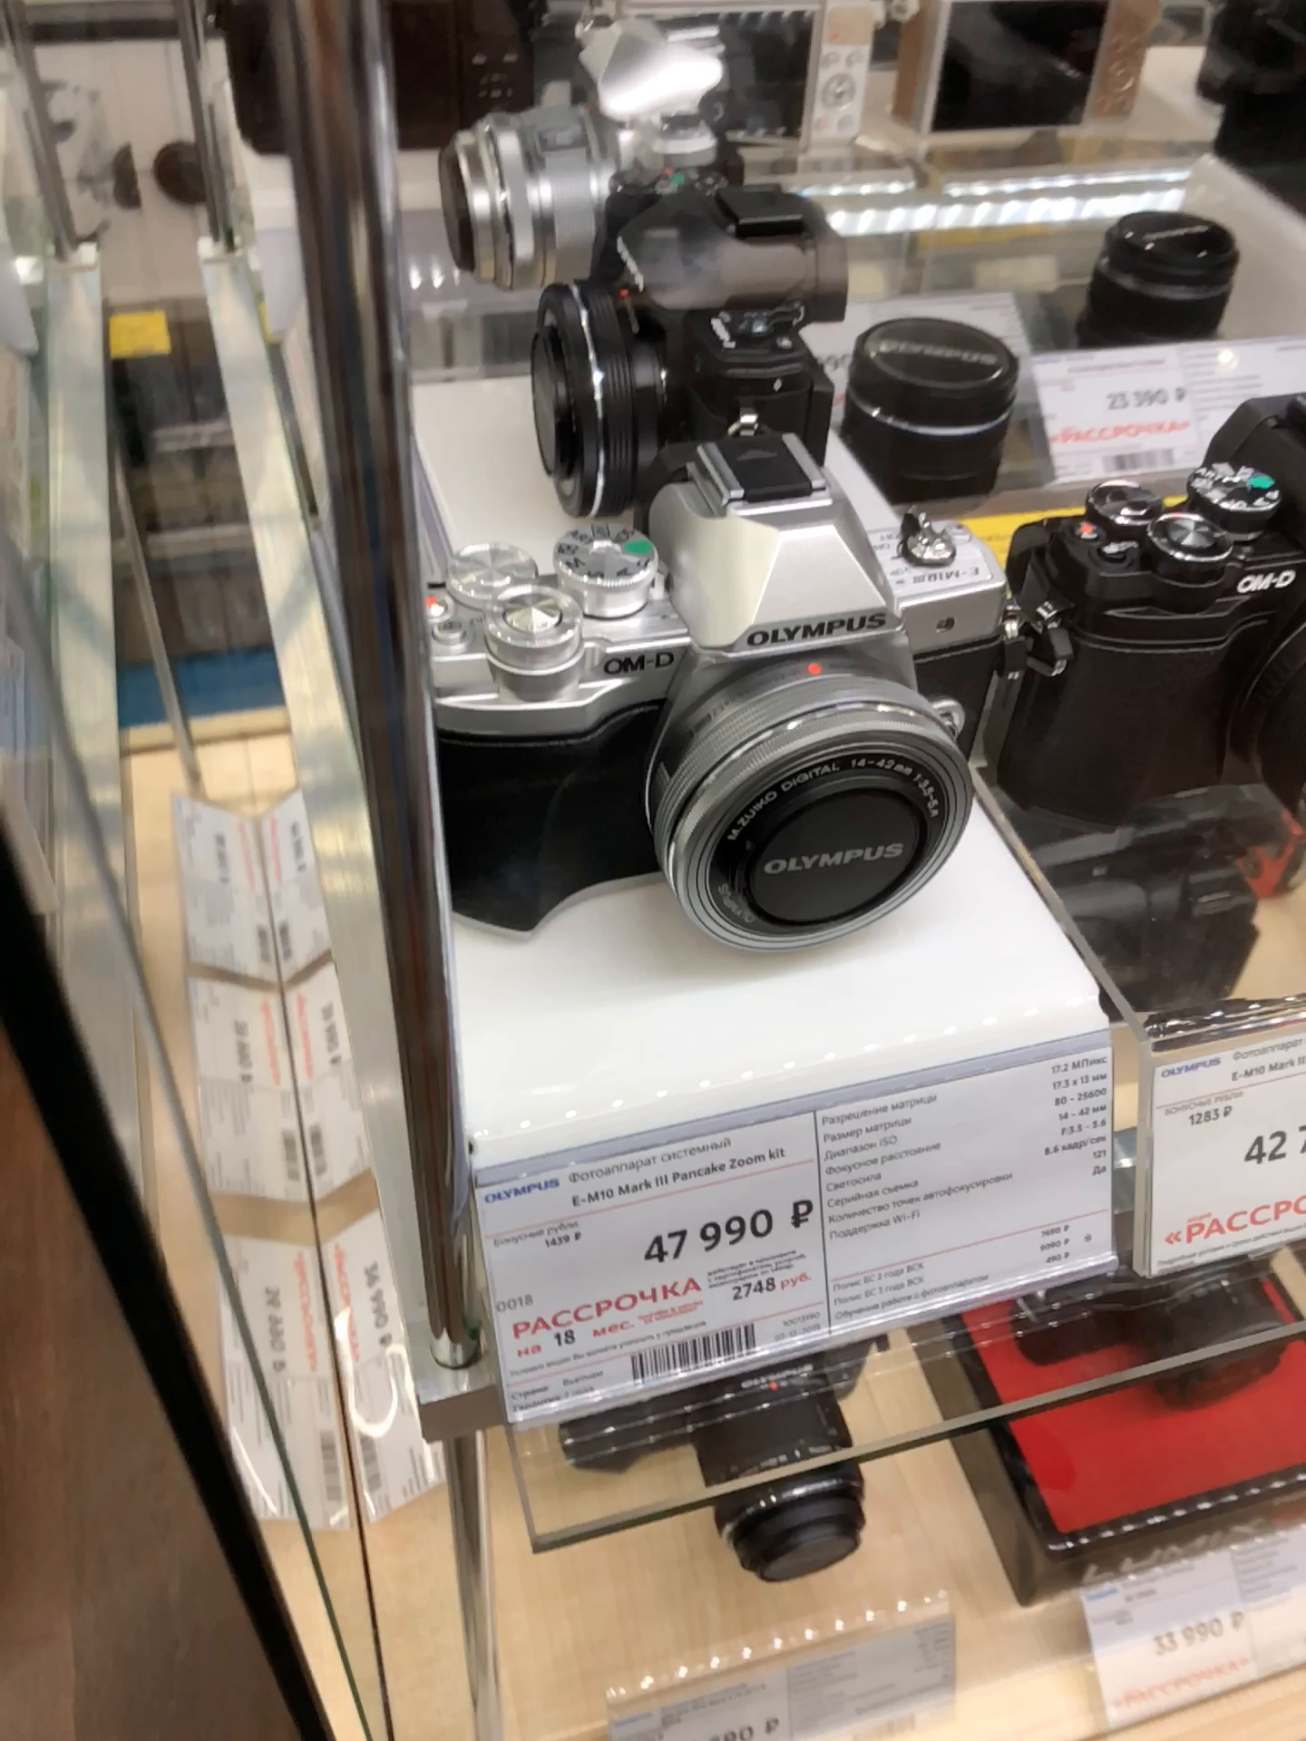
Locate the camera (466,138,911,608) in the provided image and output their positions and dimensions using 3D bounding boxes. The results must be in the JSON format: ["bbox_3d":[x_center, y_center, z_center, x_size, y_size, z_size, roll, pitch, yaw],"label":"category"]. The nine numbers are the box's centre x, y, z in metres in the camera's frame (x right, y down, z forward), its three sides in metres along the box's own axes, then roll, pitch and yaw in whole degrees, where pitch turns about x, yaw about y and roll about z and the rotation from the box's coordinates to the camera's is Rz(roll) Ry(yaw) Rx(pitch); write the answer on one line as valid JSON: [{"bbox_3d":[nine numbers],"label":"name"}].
[{"bbox_3d":[0.002,-0.130,0.369,0.078,0.068,0.109,-9,46,-13],"label":"camera"}]

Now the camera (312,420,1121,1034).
[{"bbox_3d":[0.007,-0.031,0.272,0.122,0.067,0.073,-10,46,-15],"label":"camera"}]
